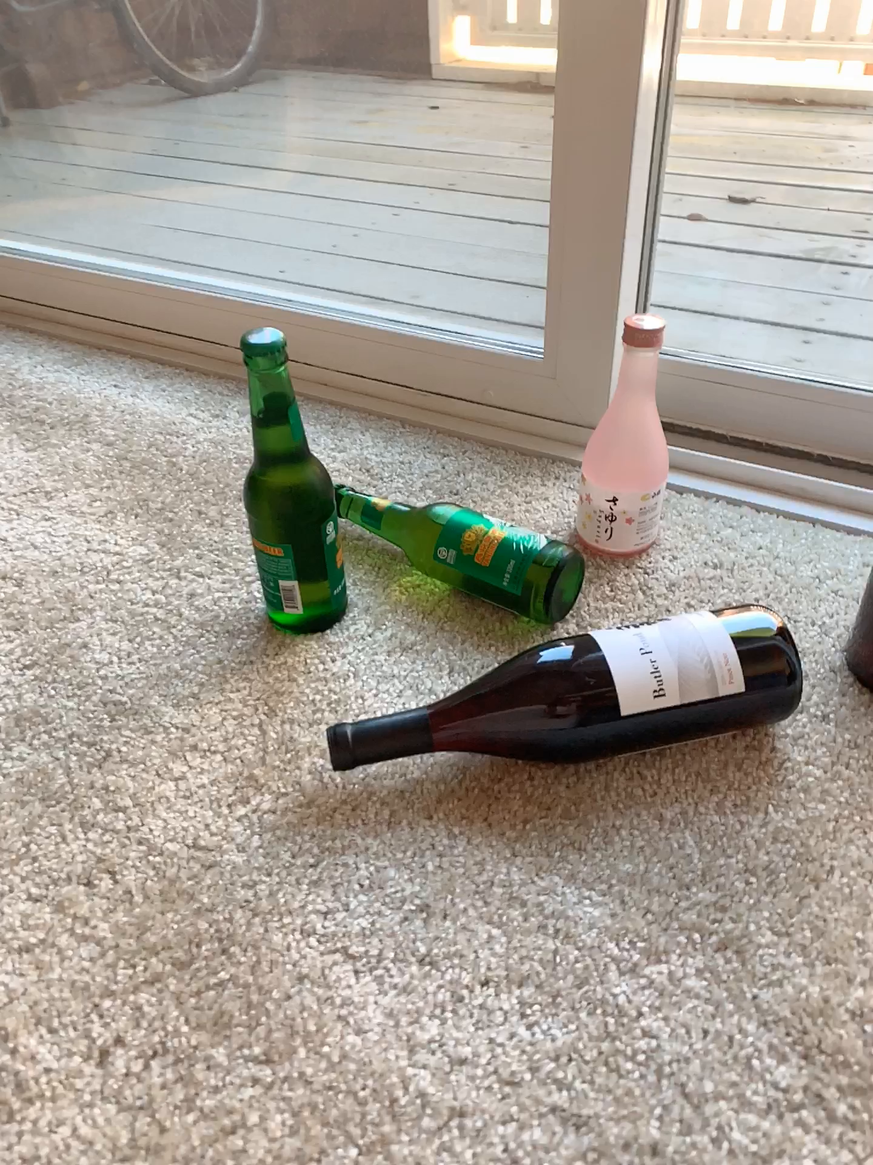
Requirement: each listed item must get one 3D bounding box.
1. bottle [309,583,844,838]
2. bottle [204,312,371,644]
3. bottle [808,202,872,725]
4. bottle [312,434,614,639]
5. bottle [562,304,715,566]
[{"bbox_3d":[0.079,0.069,0.517,0.290,0.060,0.070,-10,38,-11],"label":"bottle"},{"bbox_3d":[-0.097,-0.066,0.599,0.080,0.199,0.081,-1,38,1],"label":"bottle"},{"bbox_3d":[0.311,-0.056,0.523,0.080,0.288,0.091,-8,38,-8],"label":"bottle"},{"bbox_3d":[0.014,-0.041,0.675,0.231,0.060,0.060,24,45,29],"label":"bottle"},{"bbox_3d":[0.146,-0.109,0.673,0.070,0.169,0.081,-8,38,-8],"label":"bottle"}]
